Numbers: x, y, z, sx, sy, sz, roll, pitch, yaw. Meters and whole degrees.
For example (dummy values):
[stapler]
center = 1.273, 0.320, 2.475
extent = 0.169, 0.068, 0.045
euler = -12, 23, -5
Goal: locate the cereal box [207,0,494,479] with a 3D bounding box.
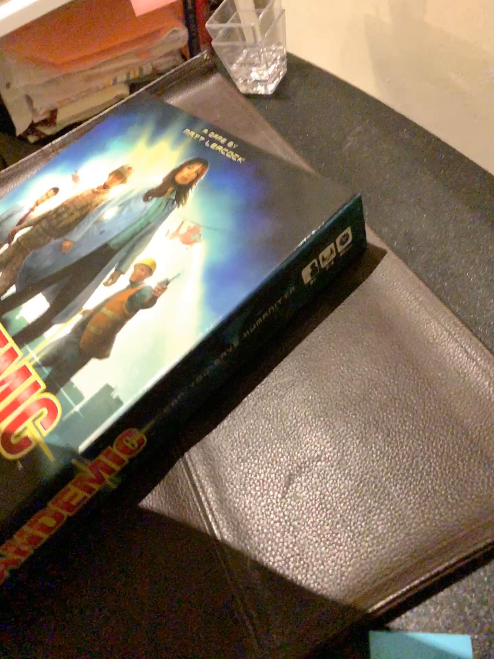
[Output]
[cereal box]
center = 0.379, -0.126, 1.113
extent = 0.472, 0.994, 0.511
euler = 7, 60, 24
